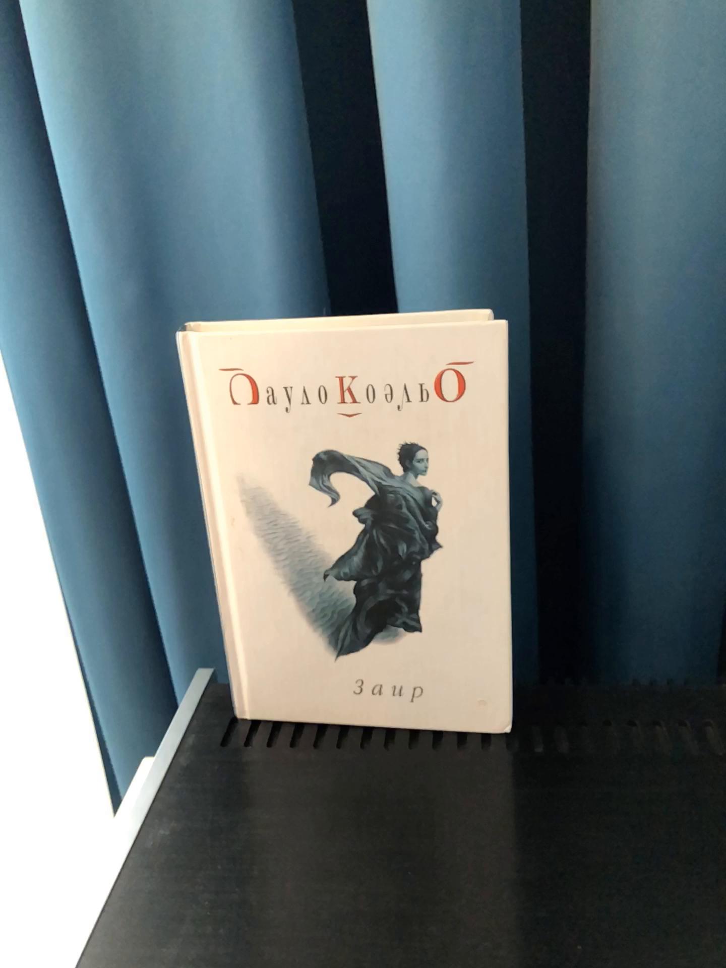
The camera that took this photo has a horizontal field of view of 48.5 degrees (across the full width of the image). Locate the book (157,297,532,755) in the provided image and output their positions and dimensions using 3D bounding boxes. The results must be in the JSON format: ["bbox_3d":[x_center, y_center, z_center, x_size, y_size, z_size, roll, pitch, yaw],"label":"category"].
[{"bbox_3d":[0.000,0.022,0.324,0.130,0.179,0.030,-1,21,13],"label":"book"}]
